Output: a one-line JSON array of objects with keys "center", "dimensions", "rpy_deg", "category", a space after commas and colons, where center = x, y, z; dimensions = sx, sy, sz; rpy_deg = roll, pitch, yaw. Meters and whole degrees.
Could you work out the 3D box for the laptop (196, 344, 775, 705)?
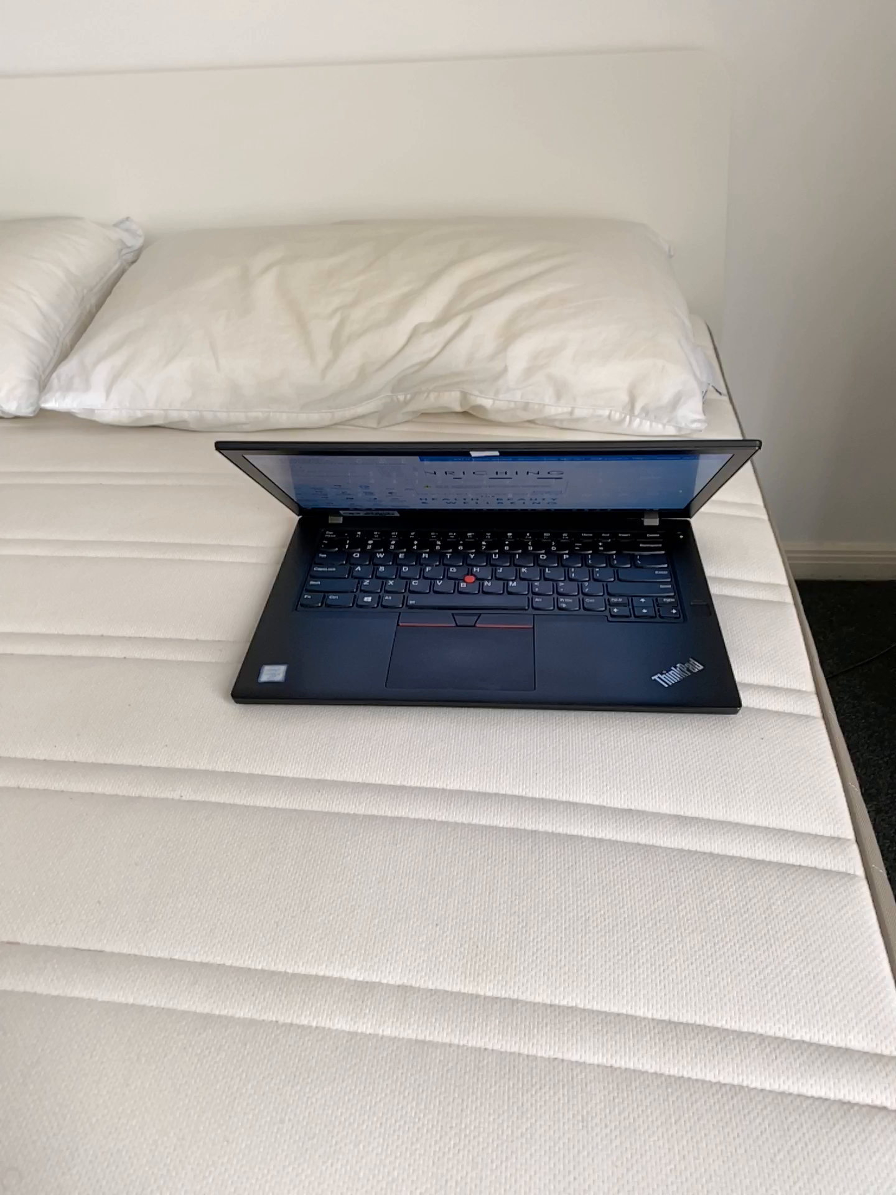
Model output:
[{"center": [0.029, -0.059, 0.642], "dimensions": [0.324, 0.150, 0.221], "rpy_deg": [0, 37, 4], "category": "laptop"}]
